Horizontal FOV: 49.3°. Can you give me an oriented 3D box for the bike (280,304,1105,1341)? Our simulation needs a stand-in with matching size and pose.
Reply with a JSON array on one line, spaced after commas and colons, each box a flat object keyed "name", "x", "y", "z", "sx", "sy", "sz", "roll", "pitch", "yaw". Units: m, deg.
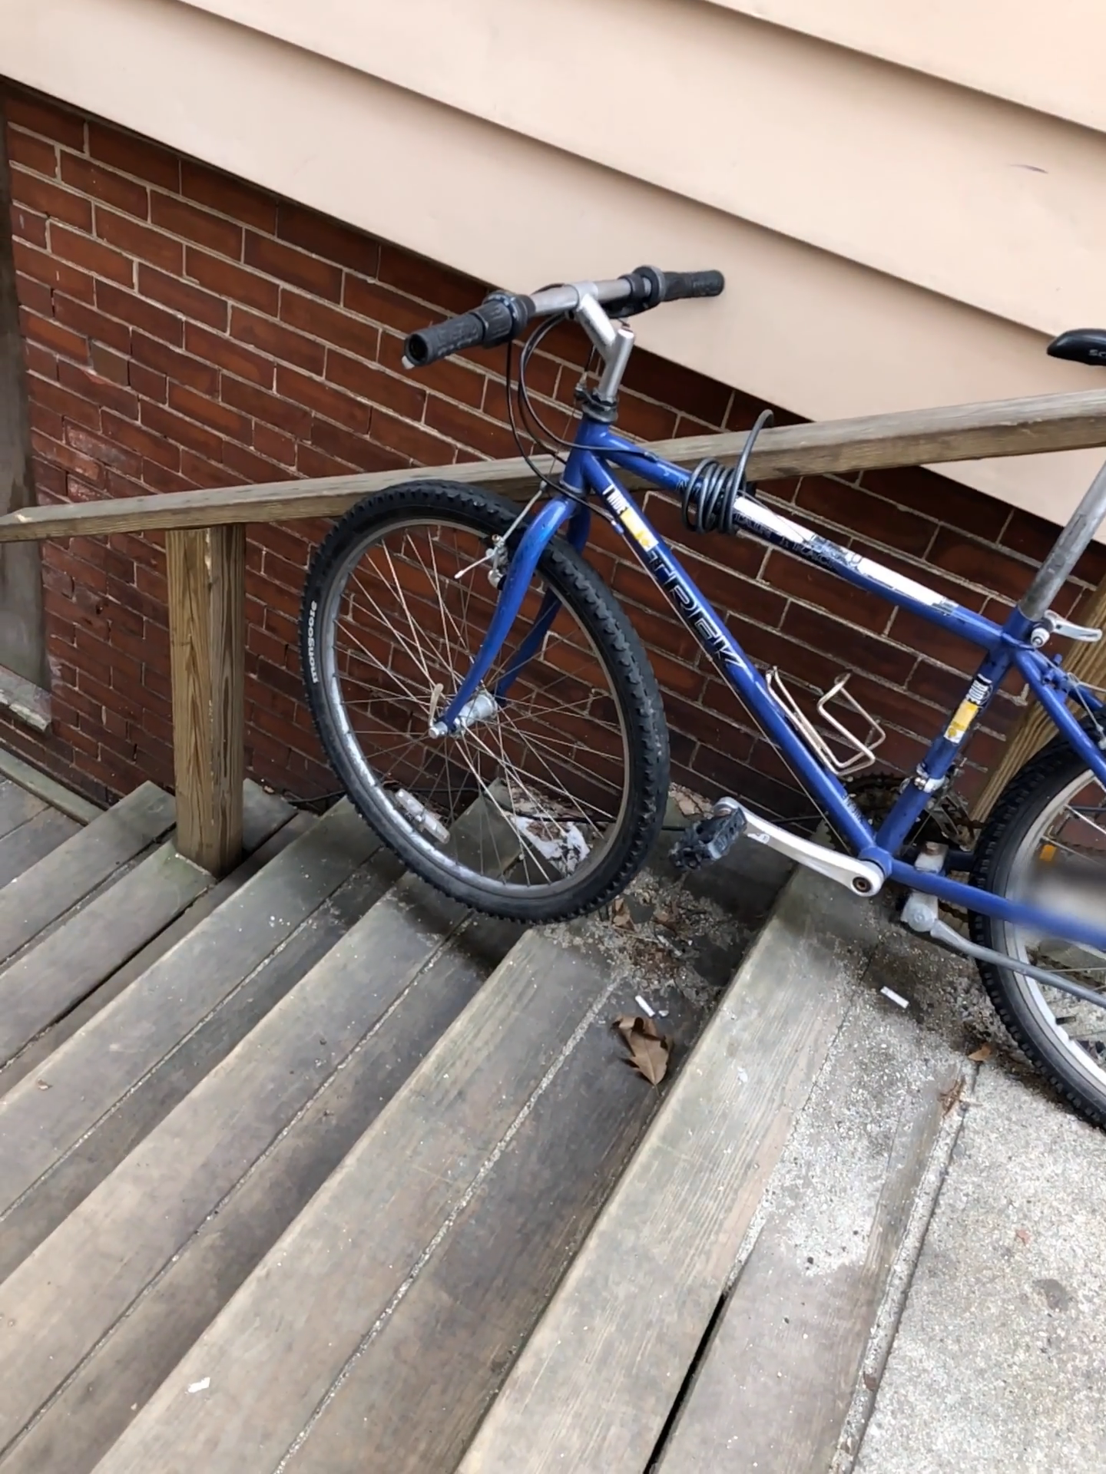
[{"name": "bike", "x": 0.388, "y": -0.034, "z": 1.527, "sx": 1.521, "sy": 0.619, "sz": 0.535, "roll": 21, "pitch": 38, "yaw": 23}]
